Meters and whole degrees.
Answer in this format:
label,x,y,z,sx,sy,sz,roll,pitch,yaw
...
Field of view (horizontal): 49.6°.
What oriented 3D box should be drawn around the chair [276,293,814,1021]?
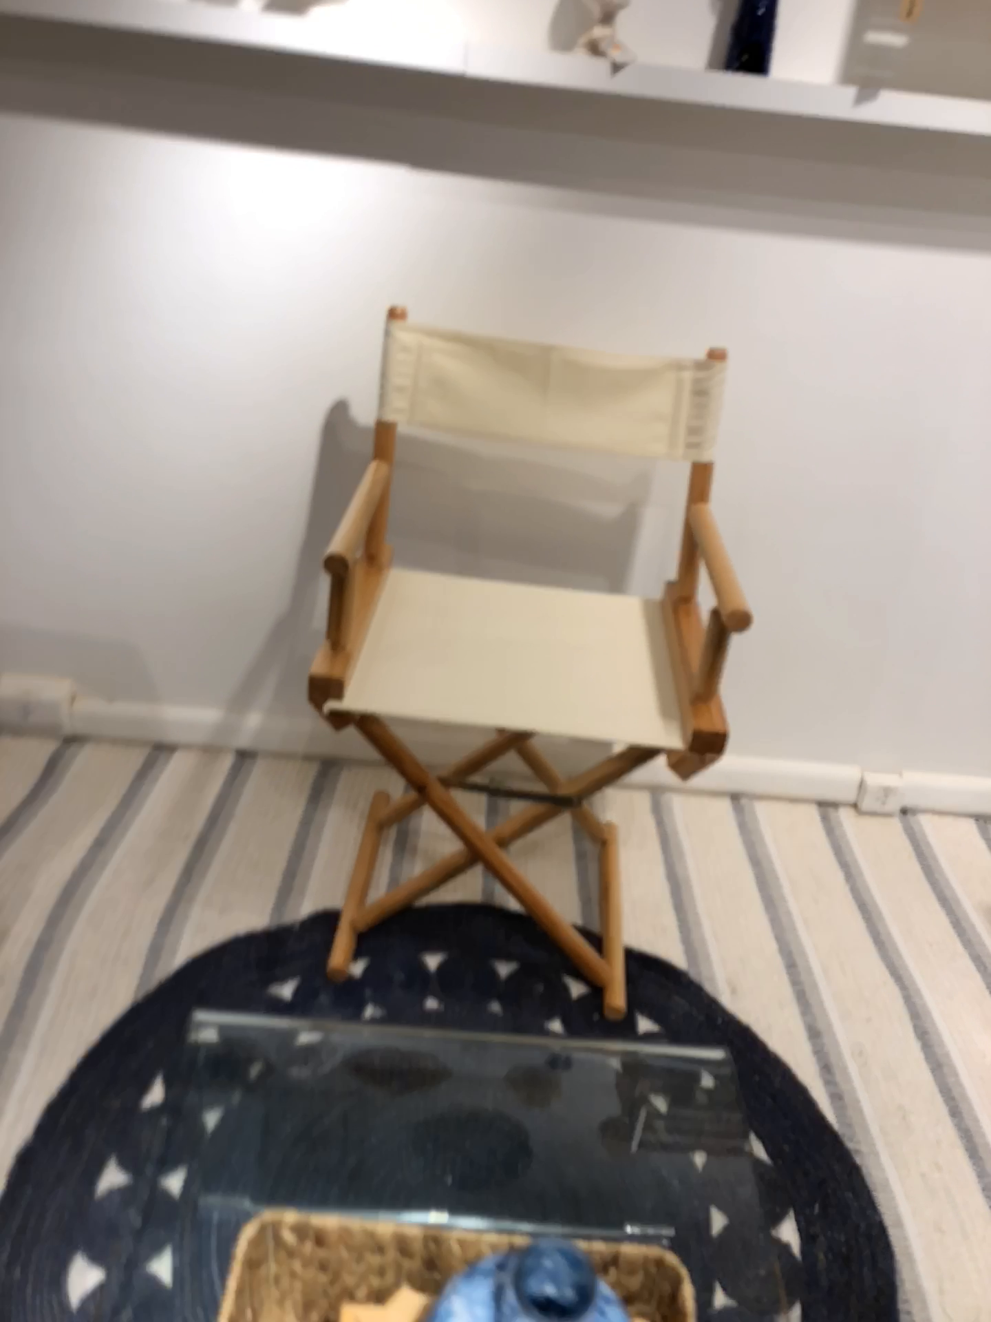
label,x,y,z,sx,sy,sz,roll,pitch,yaw
chair,0.027,-0.023,1.518,0.540,0.793,0.565,7,29,0
